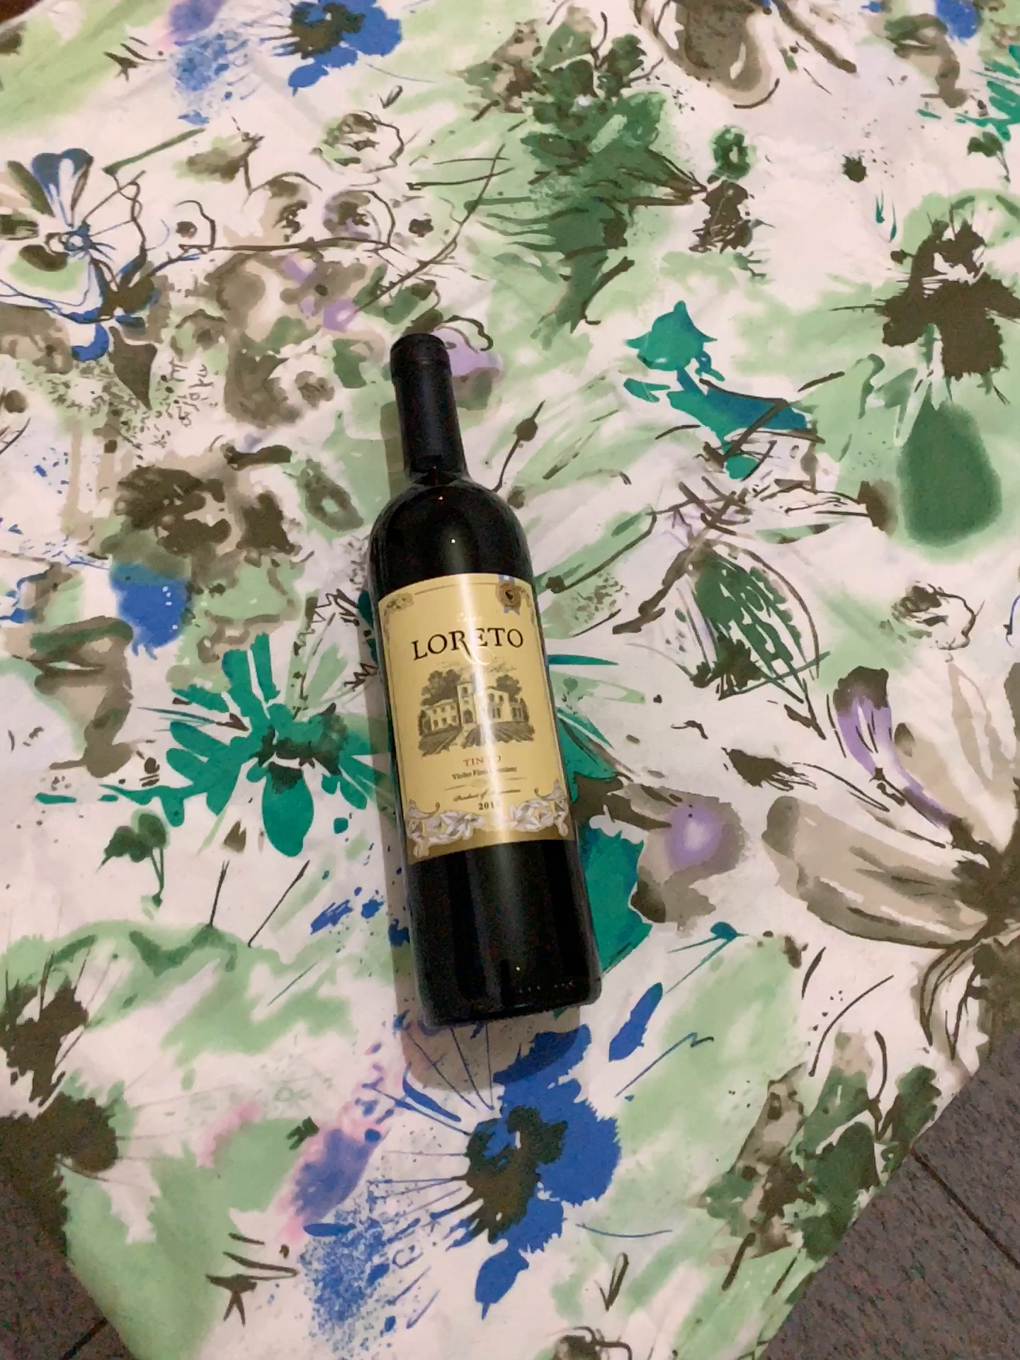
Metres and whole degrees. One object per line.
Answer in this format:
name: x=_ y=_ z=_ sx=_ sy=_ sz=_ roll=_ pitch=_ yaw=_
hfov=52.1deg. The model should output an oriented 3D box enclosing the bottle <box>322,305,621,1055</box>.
bottle: x=-0.024 y=-0.011 z=0.444 sx=0.080 sy=0.050 sz=0.310 roll=-6 pitch=73 yaw=-9
